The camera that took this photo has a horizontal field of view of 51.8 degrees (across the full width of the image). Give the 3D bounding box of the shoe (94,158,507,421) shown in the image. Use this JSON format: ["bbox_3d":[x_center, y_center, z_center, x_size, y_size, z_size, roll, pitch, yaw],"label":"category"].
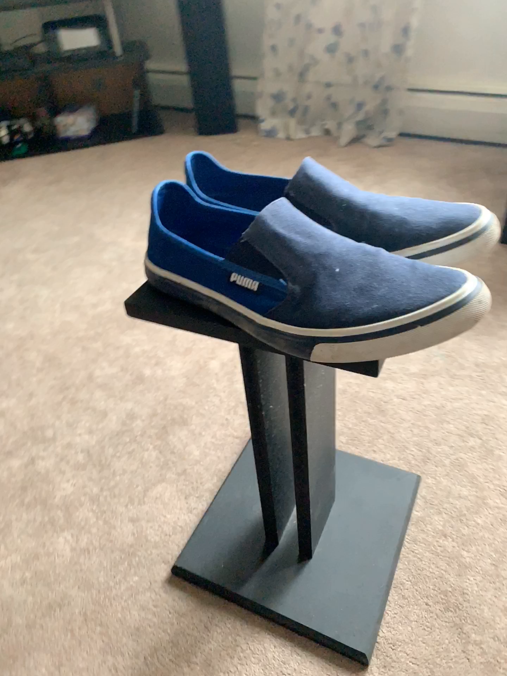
[{"bbox_3d":[0.027,-0.061,0.412,0.301,0.079,0.121,22,46,31],"label":"shoe"}]

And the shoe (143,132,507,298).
[{"bbox_3d":[0.066,-0.125,0.481,0.300,0.079,0.121,10,41,20],"label":"shoe"}]
